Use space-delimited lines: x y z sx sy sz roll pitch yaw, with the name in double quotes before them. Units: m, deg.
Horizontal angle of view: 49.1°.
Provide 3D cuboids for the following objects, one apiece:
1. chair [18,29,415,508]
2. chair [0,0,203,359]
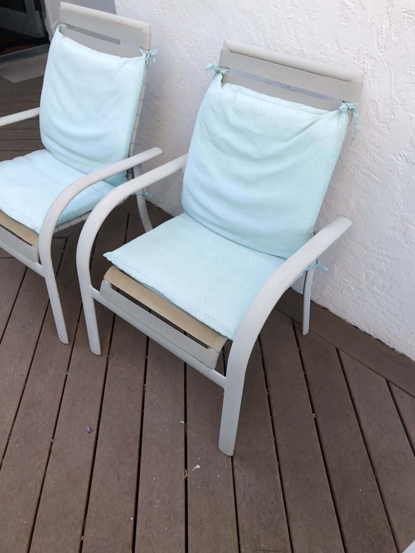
"chair" 0.107 -0.032 1.666 0.842 1.273 0.873 30 51 28
"chair" -0.541 -0.406 1.749 0.702 0.965 0.783 30 51 28
